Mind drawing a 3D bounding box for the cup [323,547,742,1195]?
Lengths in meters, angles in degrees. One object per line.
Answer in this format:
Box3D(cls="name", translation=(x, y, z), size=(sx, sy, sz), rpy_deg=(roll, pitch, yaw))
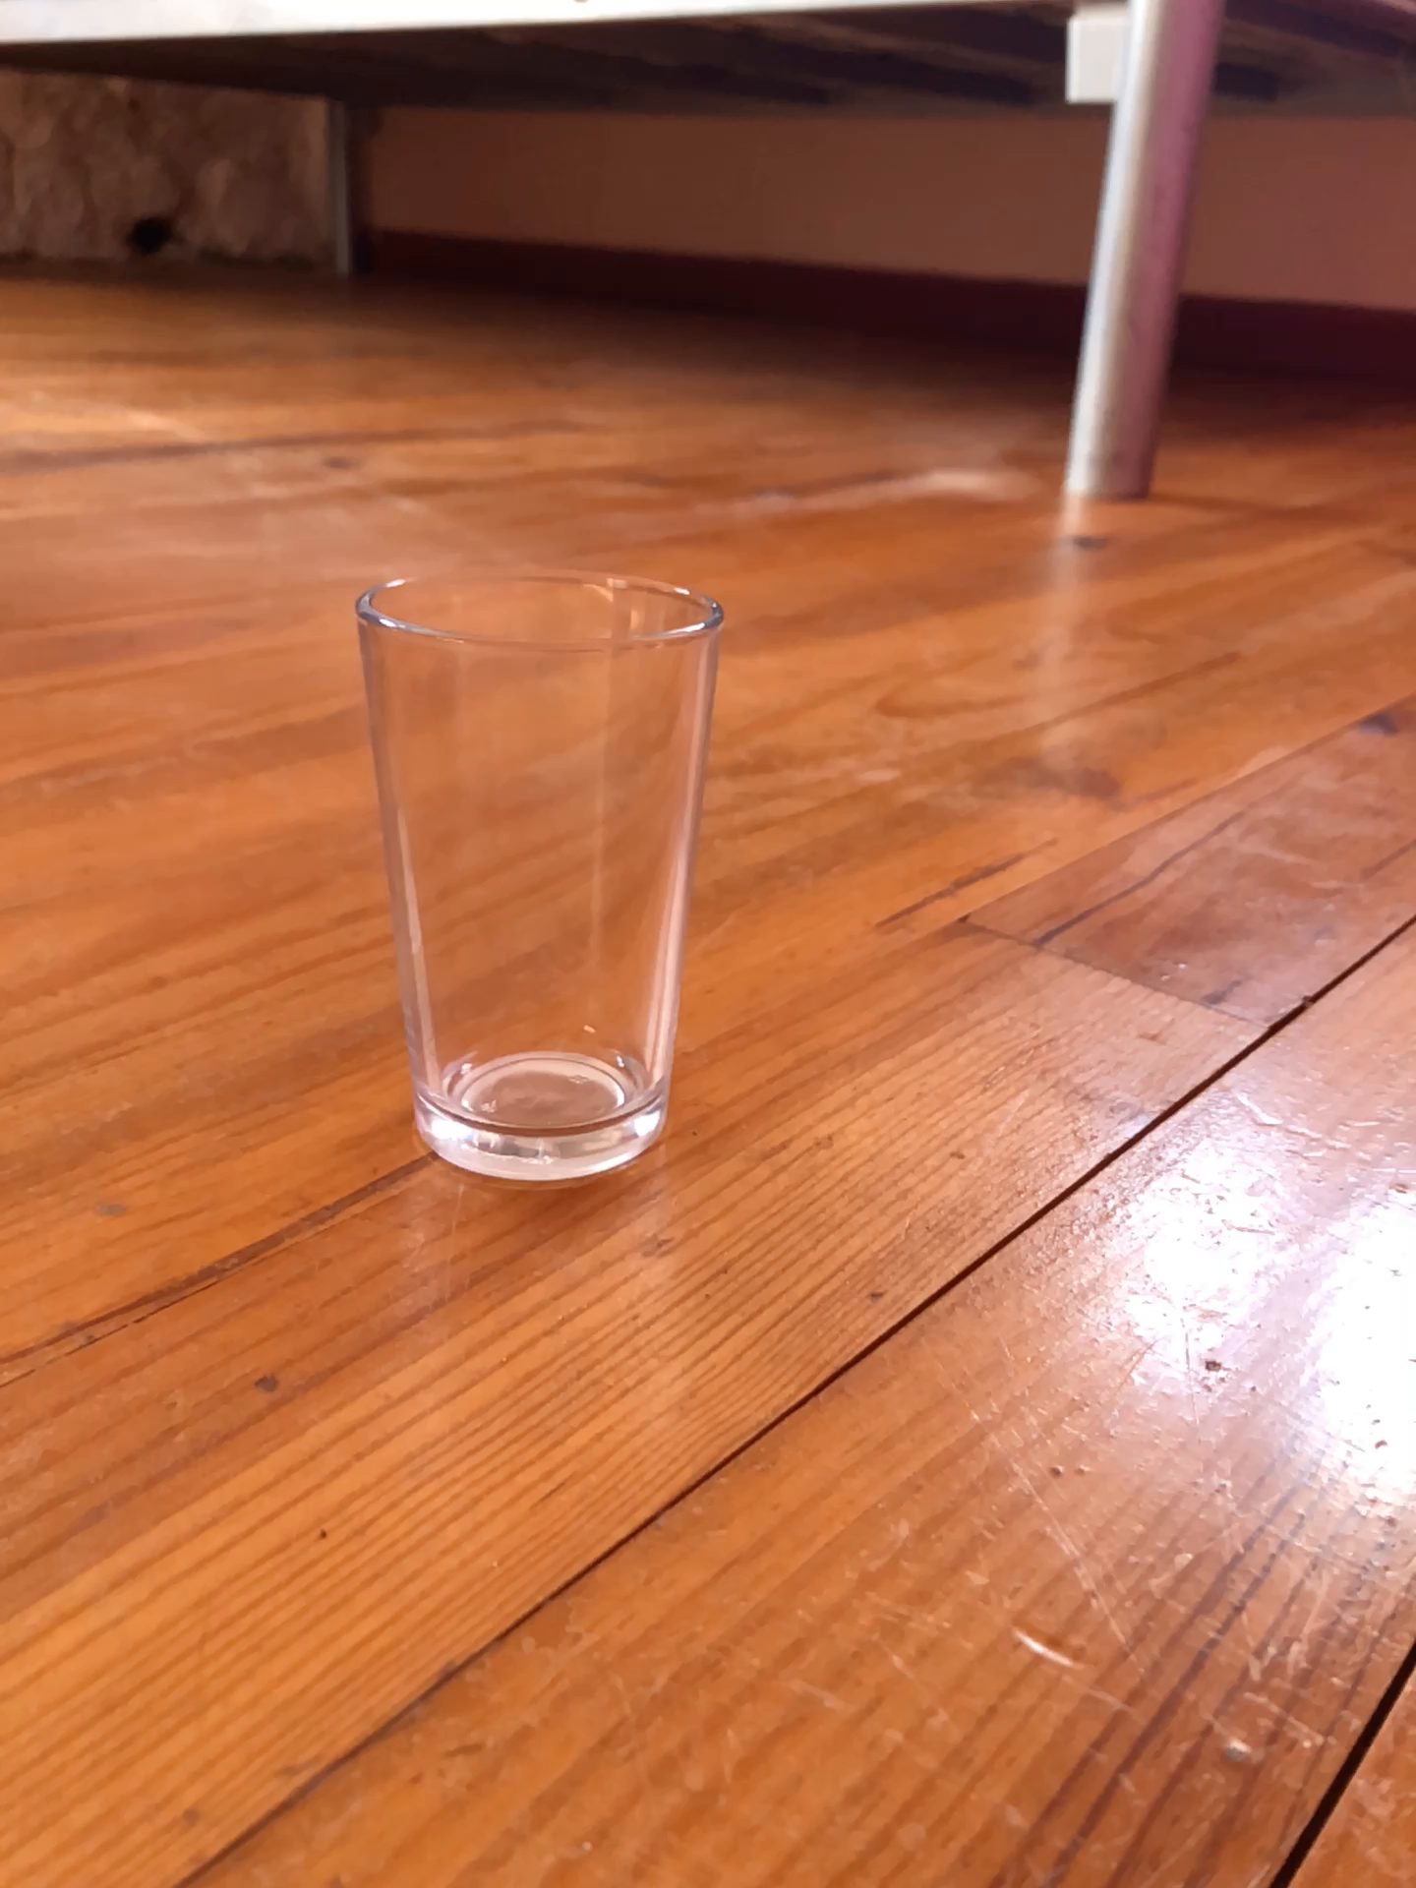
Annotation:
Box3D(cls="cup", translation=(-0.024, -0.013, 0.234), size=(0.051, 0.079, 0.055), rpy_deg=(3, 23, -1))
